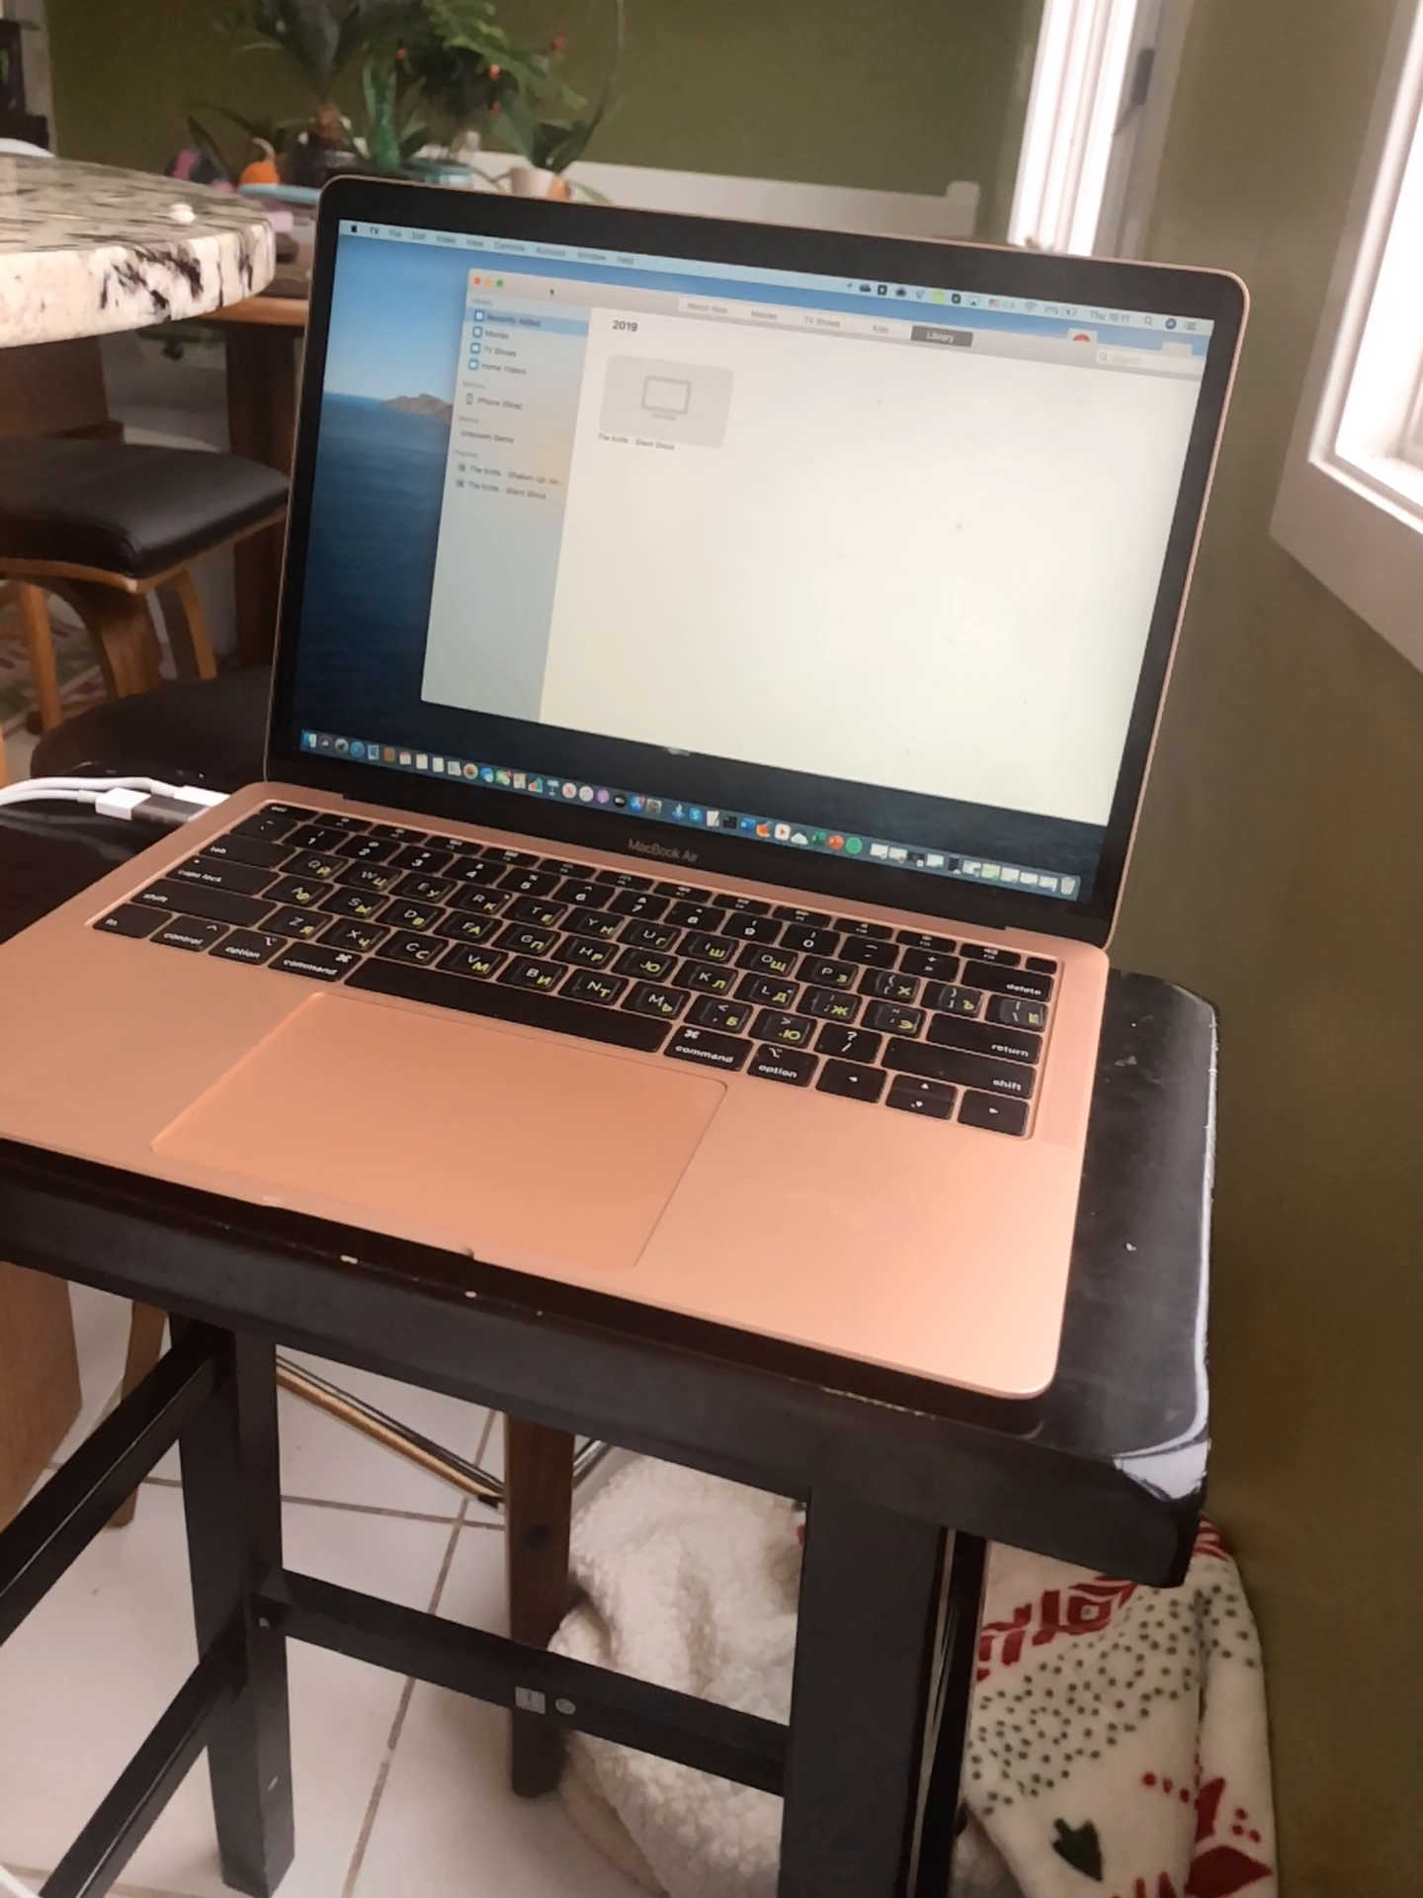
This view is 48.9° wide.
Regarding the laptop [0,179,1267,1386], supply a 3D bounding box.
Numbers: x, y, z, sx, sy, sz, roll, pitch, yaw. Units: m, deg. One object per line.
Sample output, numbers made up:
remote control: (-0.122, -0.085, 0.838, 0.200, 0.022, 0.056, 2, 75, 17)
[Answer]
laptop: (-0.030, -0.084, 0.424, 0.297, 0.196, 0.265, 12, 28, 12)
